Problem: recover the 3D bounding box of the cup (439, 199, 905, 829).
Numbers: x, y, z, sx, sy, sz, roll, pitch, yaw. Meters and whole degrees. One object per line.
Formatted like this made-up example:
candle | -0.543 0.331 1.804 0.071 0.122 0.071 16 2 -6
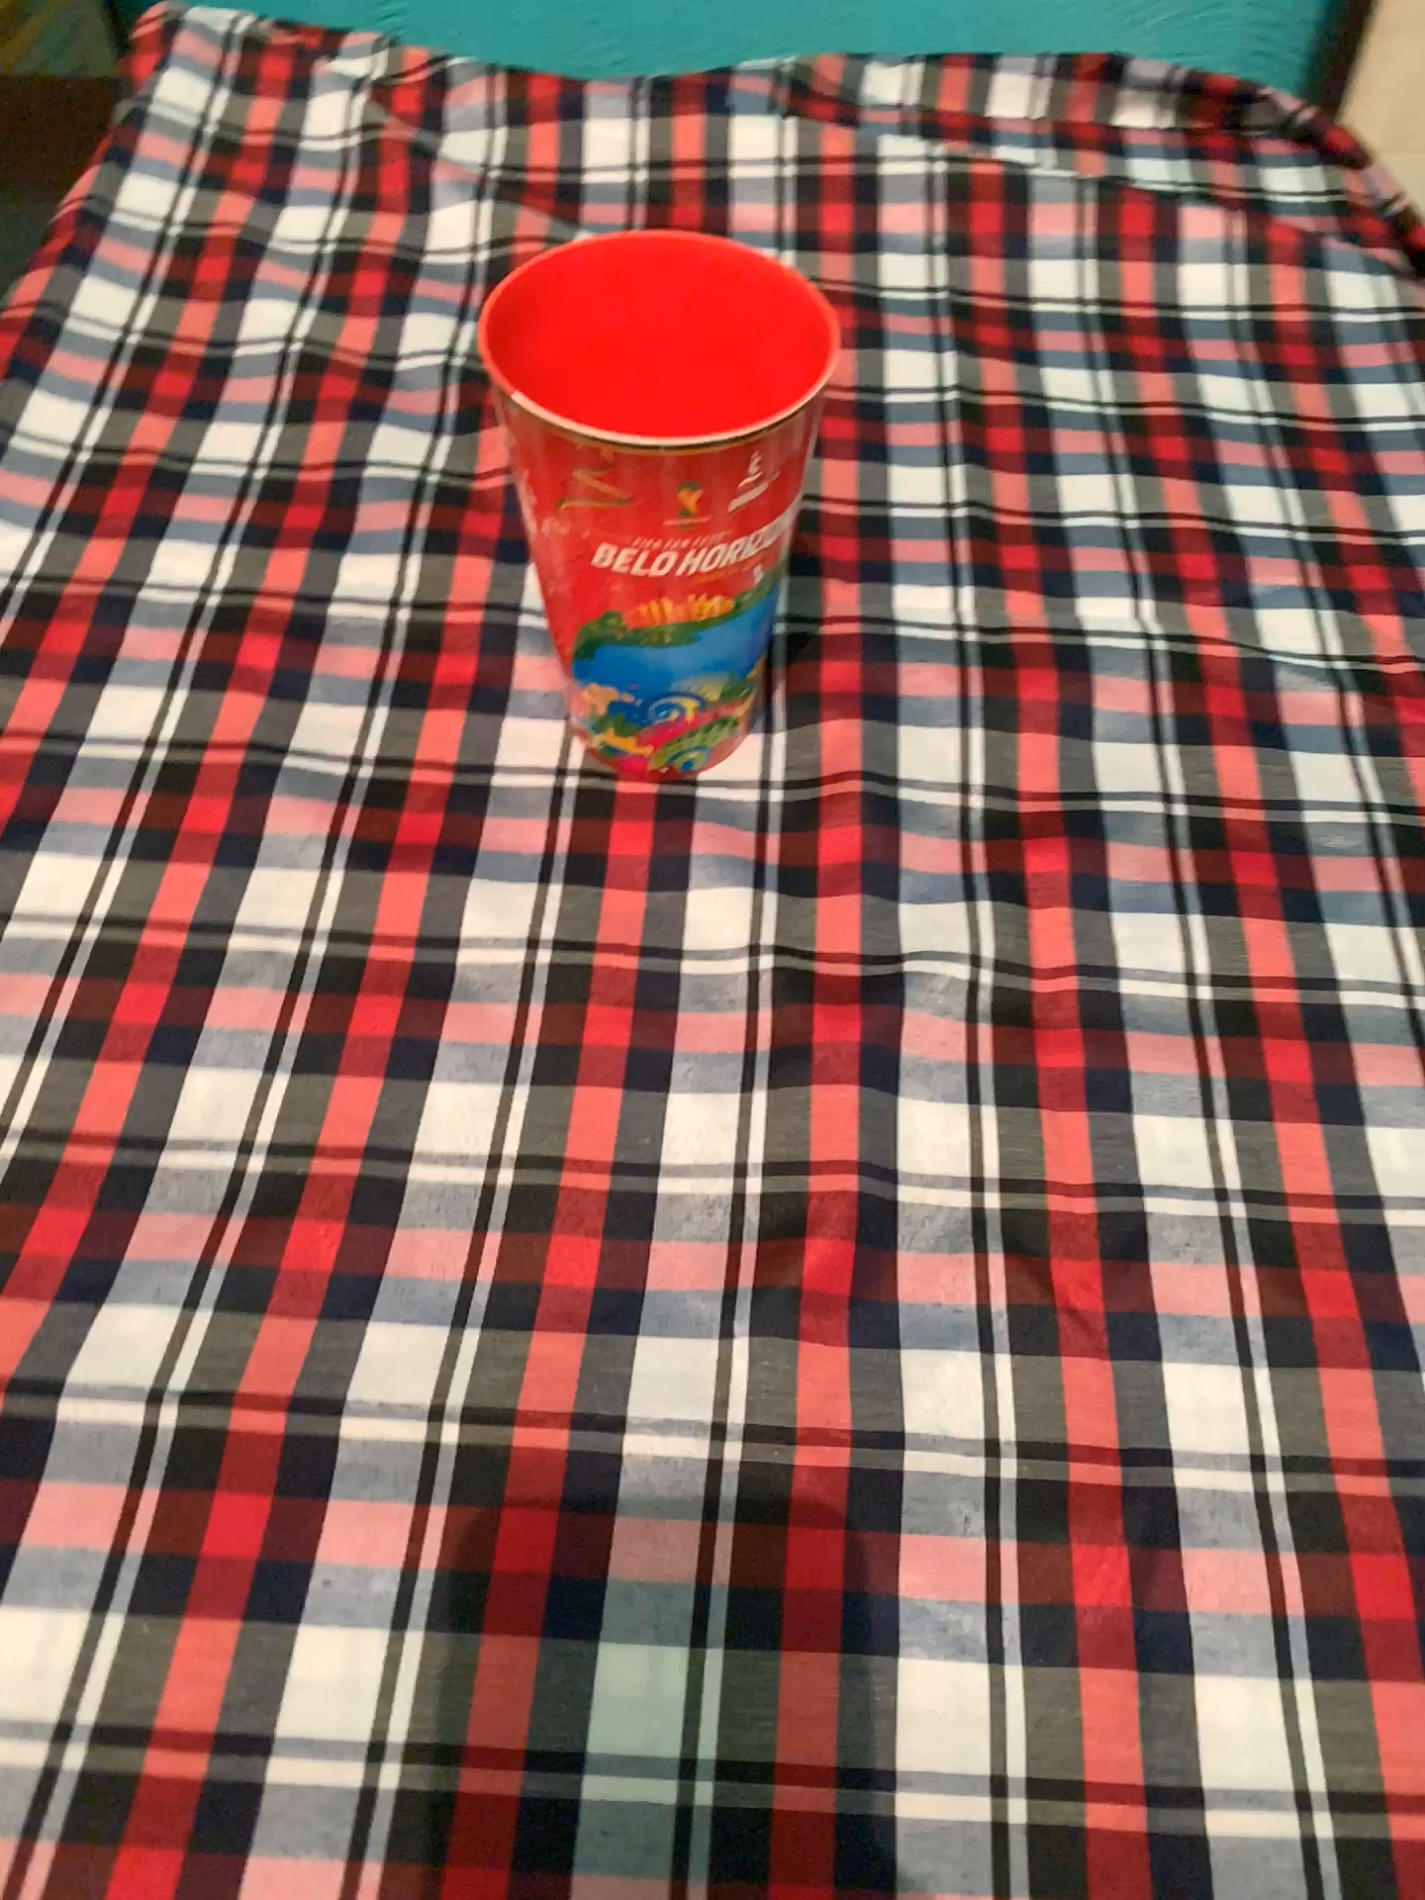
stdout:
cup | -0.015 -0.121 0.419 0.100 0.130 0.100 1 55 -1
